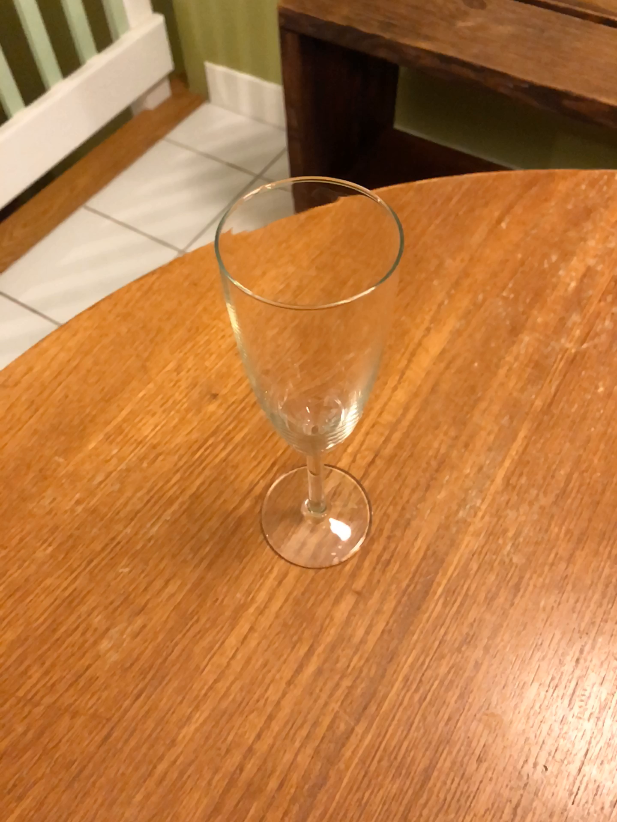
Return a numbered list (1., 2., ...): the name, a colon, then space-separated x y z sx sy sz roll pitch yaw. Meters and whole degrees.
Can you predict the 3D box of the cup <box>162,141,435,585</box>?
1. cup: 0.002 -0.001 0.313 0.066 0.215 0.074 17 59 13
